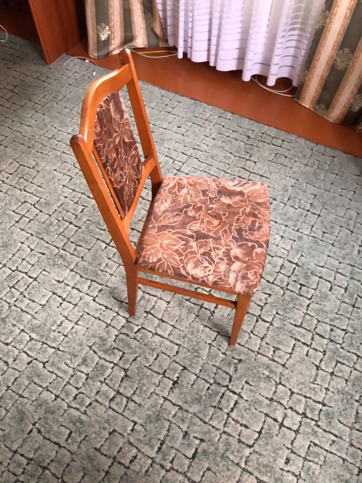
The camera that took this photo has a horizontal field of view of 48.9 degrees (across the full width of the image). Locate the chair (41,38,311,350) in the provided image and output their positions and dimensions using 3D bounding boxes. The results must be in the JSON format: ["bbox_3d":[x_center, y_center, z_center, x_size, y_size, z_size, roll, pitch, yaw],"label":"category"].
[{"bbox_3d":[0.017,-0.084,1.325,0.550,0.875,0.483,12,56,8],"label":"chair"}]
